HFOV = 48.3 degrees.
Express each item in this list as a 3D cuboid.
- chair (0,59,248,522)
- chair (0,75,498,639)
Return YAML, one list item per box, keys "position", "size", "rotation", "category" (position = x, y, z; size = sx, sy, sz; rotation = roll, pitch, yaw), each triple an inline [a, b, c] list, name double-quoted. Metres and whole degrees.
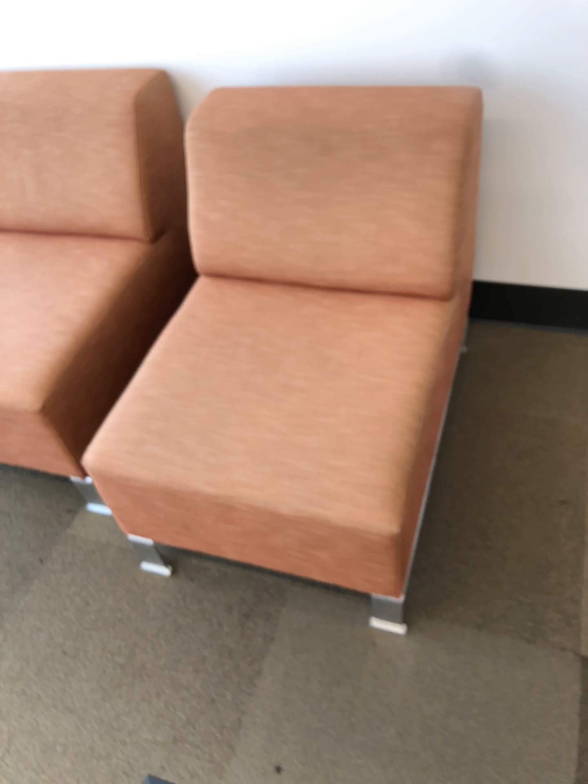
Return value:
- position: [-0.720, -0.319, 1.848]
  size: [0.765, 0.809, 0.935]
  rotation: [8, 49, 18]
  category: "chair"
- position: [0.012, -0.131, 1.483]
  size: [0.695, 0.760, 0.925]
  rotation: [9, 49, 19]
  category: "chair"
